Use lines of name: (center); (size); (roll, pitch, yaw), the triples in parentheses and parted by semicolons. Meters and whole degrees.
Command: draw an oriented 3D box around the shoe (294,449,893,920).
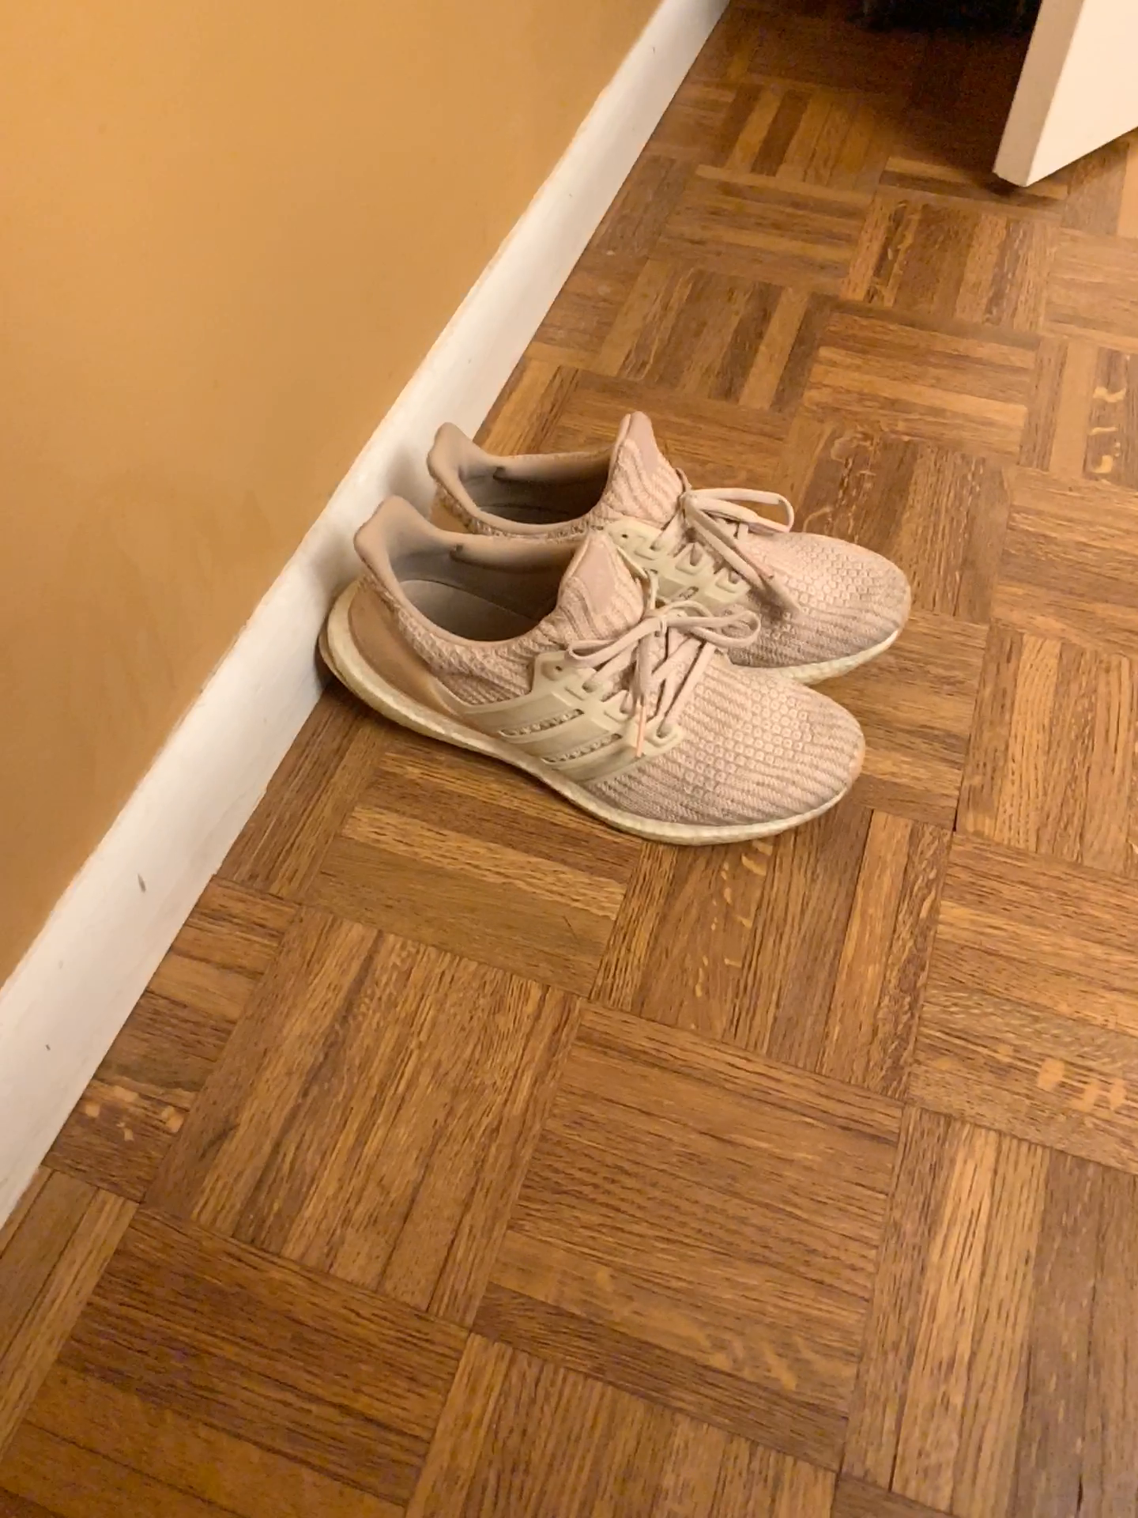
shoe: (0.006, -0.036, 0.621); (0.280, 0.130, 0.100); (22, 57, 2)

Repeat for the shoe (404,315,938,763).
shoe: (0.054, -0.122, 0.664); (0.260, 0.120, 0.110); (23, 57, 0)
